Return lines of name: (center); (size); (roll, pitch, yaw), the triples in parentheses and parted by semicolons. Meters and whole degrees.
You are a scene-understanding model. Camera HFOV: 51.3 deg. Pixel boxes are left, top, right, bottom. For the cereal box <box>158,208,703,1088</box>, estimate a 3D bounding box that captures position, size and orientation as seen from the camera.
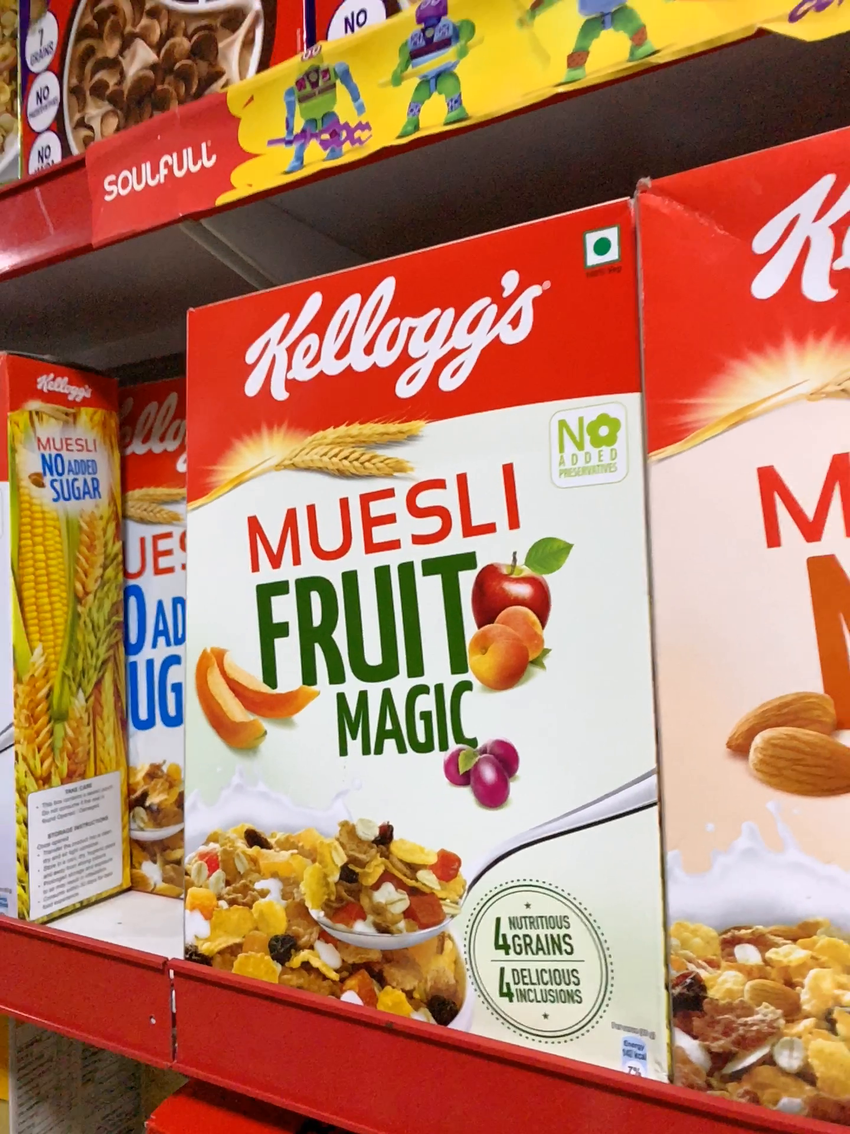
cereal box: (-0.006, 0.023, 0.312); (0.180, 0.240, 0.060); (-3, -4, 29)
